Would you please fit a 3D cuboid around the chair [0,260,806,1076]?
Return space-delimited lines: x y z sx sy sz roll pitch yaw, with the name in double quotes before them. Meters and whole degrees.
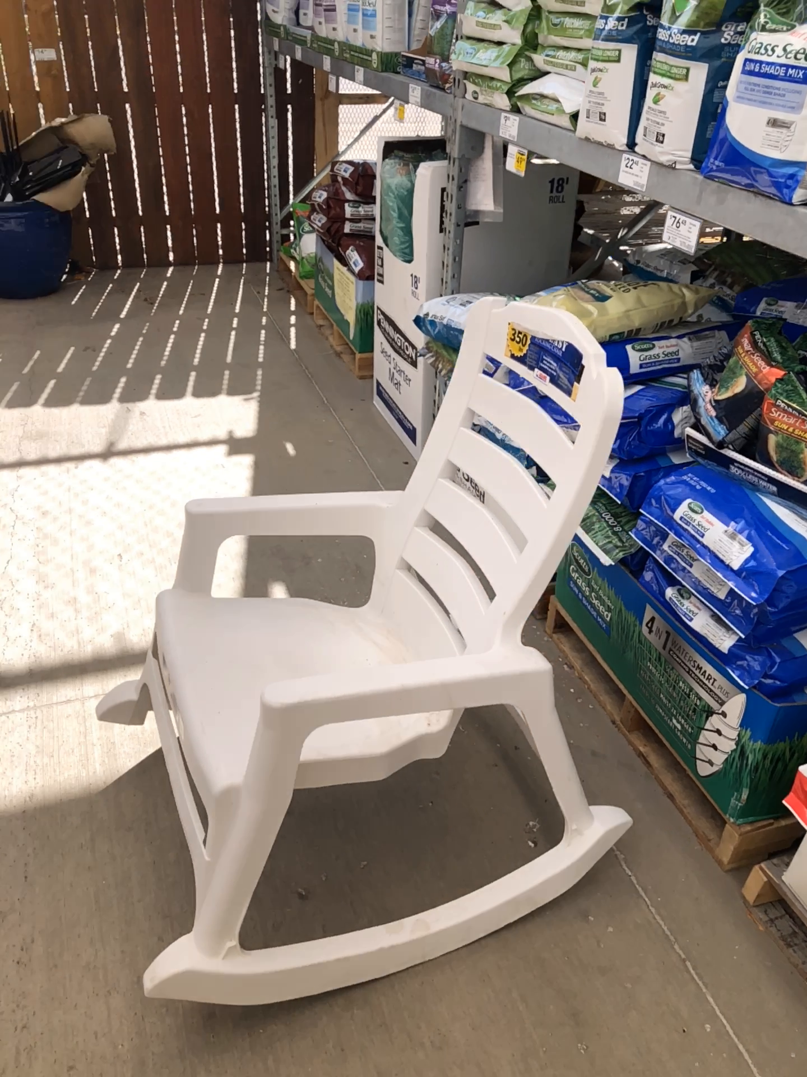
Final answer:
"chair" -0.094 0.108 1.565 1.032 0.928 0.847 -9 34 -21
